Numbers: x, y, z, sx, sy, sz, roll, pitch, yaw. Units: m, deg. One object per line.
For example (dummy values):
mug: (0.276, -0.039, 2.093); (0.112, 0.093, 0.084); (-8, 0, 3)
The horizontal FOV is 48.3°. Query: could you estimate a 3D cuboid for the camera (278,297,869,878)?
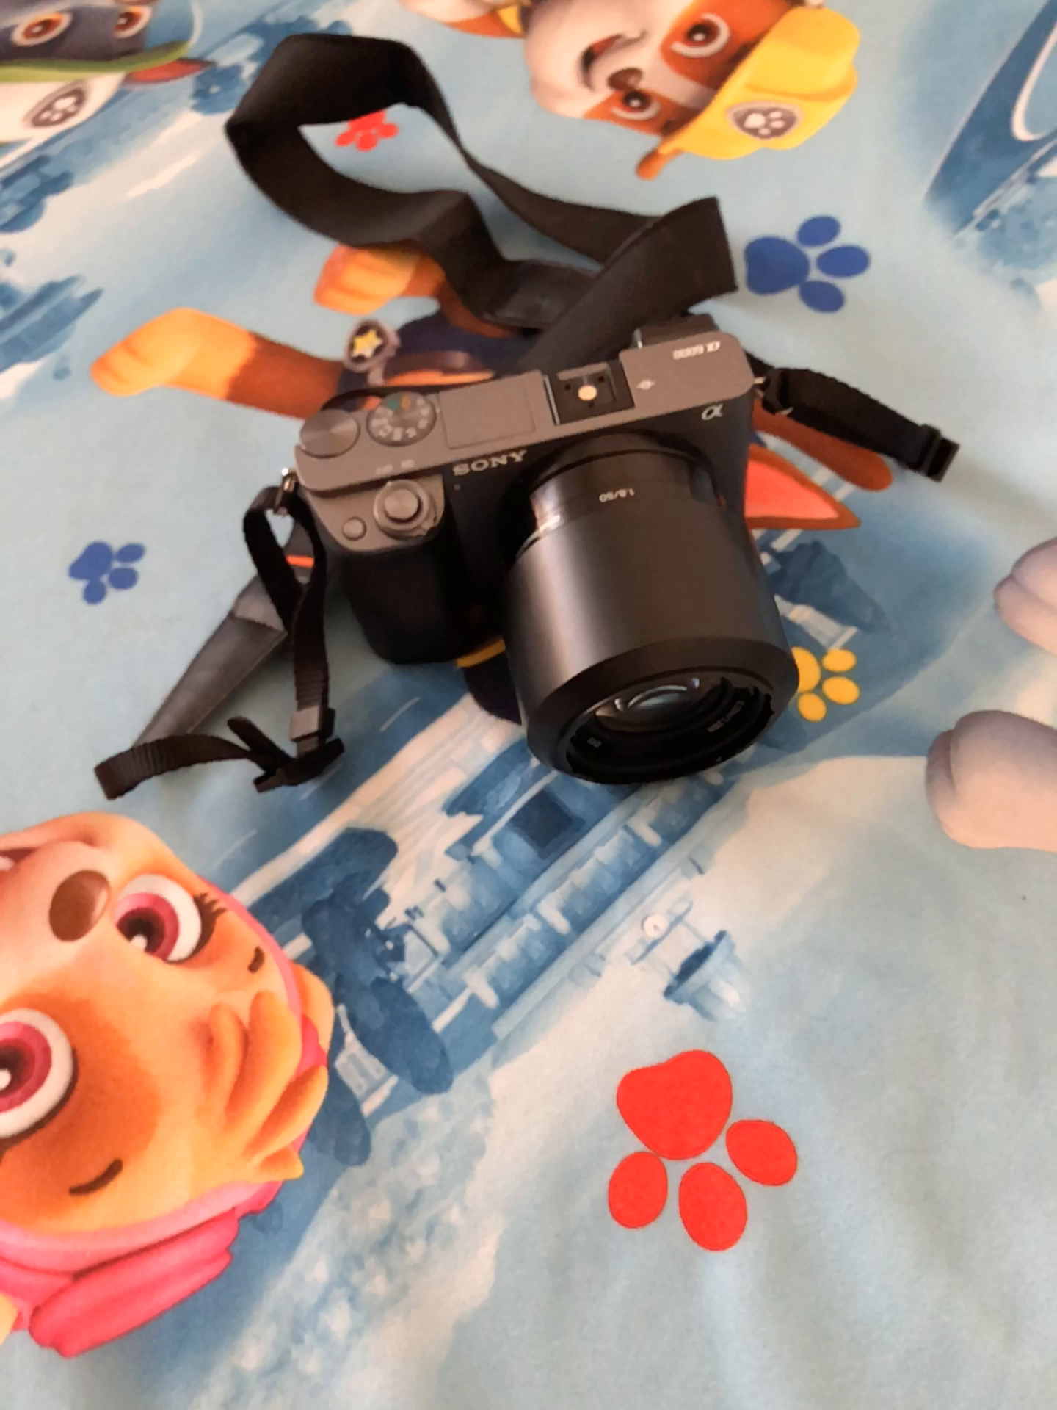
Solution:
camera: (0.009, -0.031, 0.331); (0.130, 0.080, 0.110); (-13, 59, 2)
